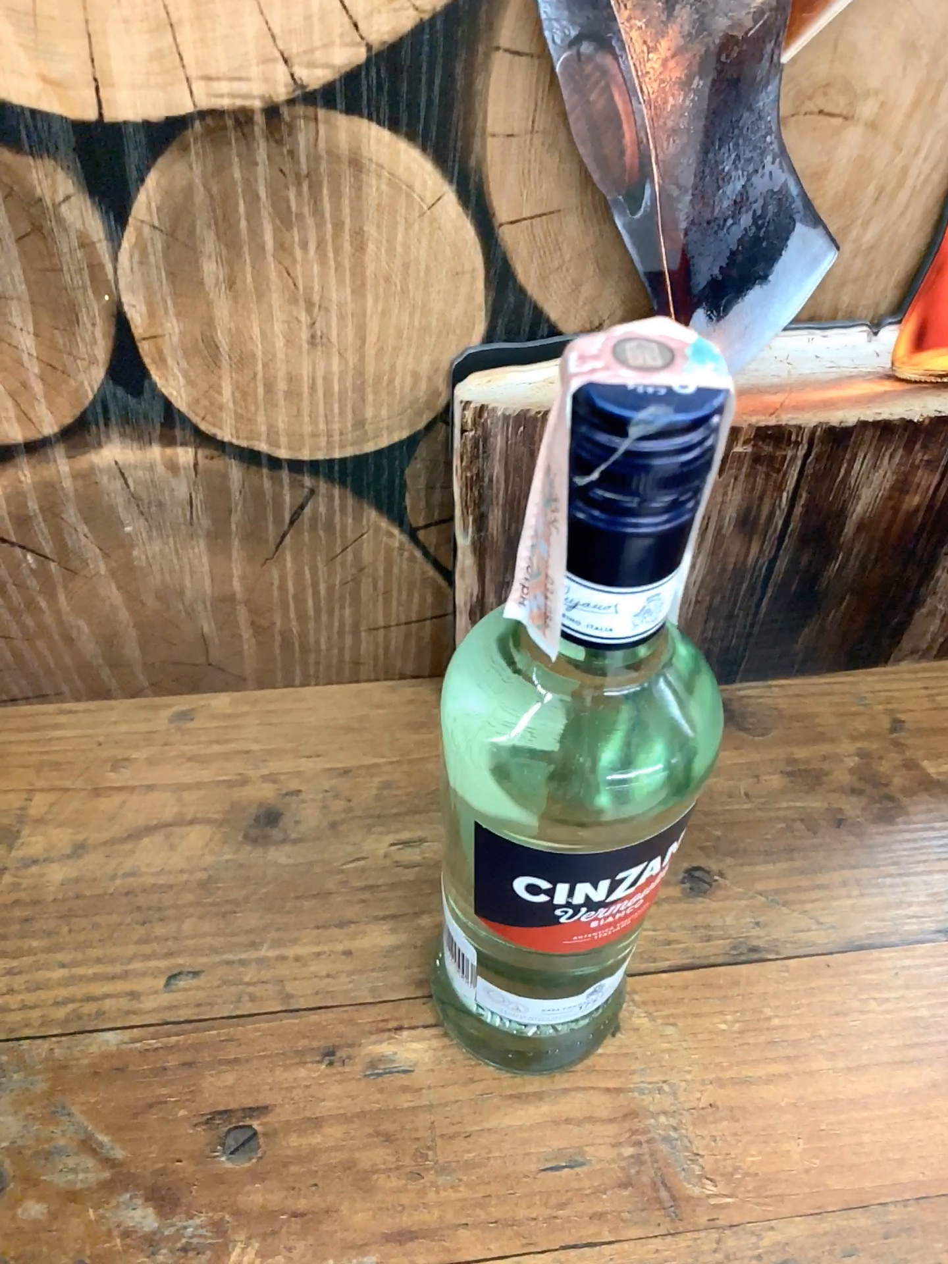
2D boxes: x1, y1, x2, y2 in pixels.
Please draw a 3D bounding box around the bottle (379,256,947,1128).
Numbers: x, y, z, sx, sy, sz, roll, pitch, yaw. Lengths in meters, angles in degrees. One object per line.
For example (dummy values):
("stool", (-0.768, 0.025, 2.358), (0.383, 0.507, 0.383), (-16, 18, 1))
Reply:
("bottle", (0.023, 0.038, 0.245), (0.070, 0.231, 0.070), (2, 46, -2))
